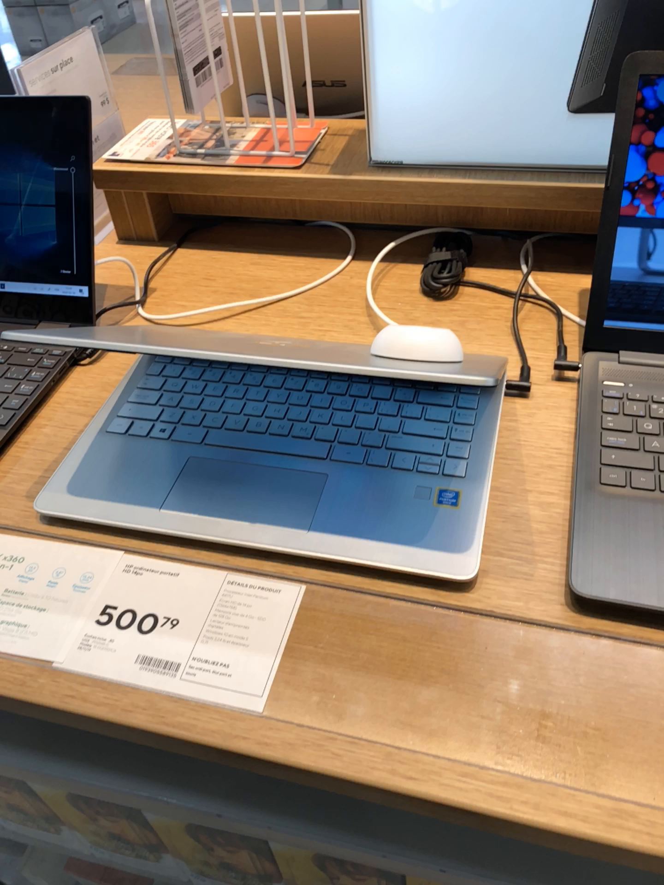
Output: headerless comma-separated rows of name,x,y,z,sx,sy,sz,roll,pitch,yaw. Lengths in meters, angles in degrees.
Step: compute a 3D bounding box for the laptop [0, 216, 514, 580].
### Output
laptop,-0.045,-0.050,0.521,0.314,0.110,0.217,7,46,14
